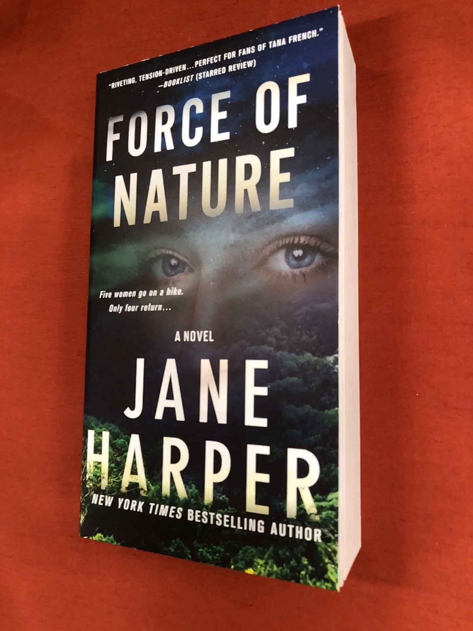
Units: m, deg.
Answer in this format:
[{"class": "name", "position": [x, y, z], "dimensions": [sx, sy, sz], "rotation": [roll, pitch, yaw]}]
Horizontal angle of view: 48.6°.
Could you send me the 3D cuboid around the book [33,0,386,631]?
[{"class": "book", "position": [-0.010, 0.000, 0.191], "dimensions": [0.110, 0.050, 0.180], "rotation": [-2, 91, 25]}]
